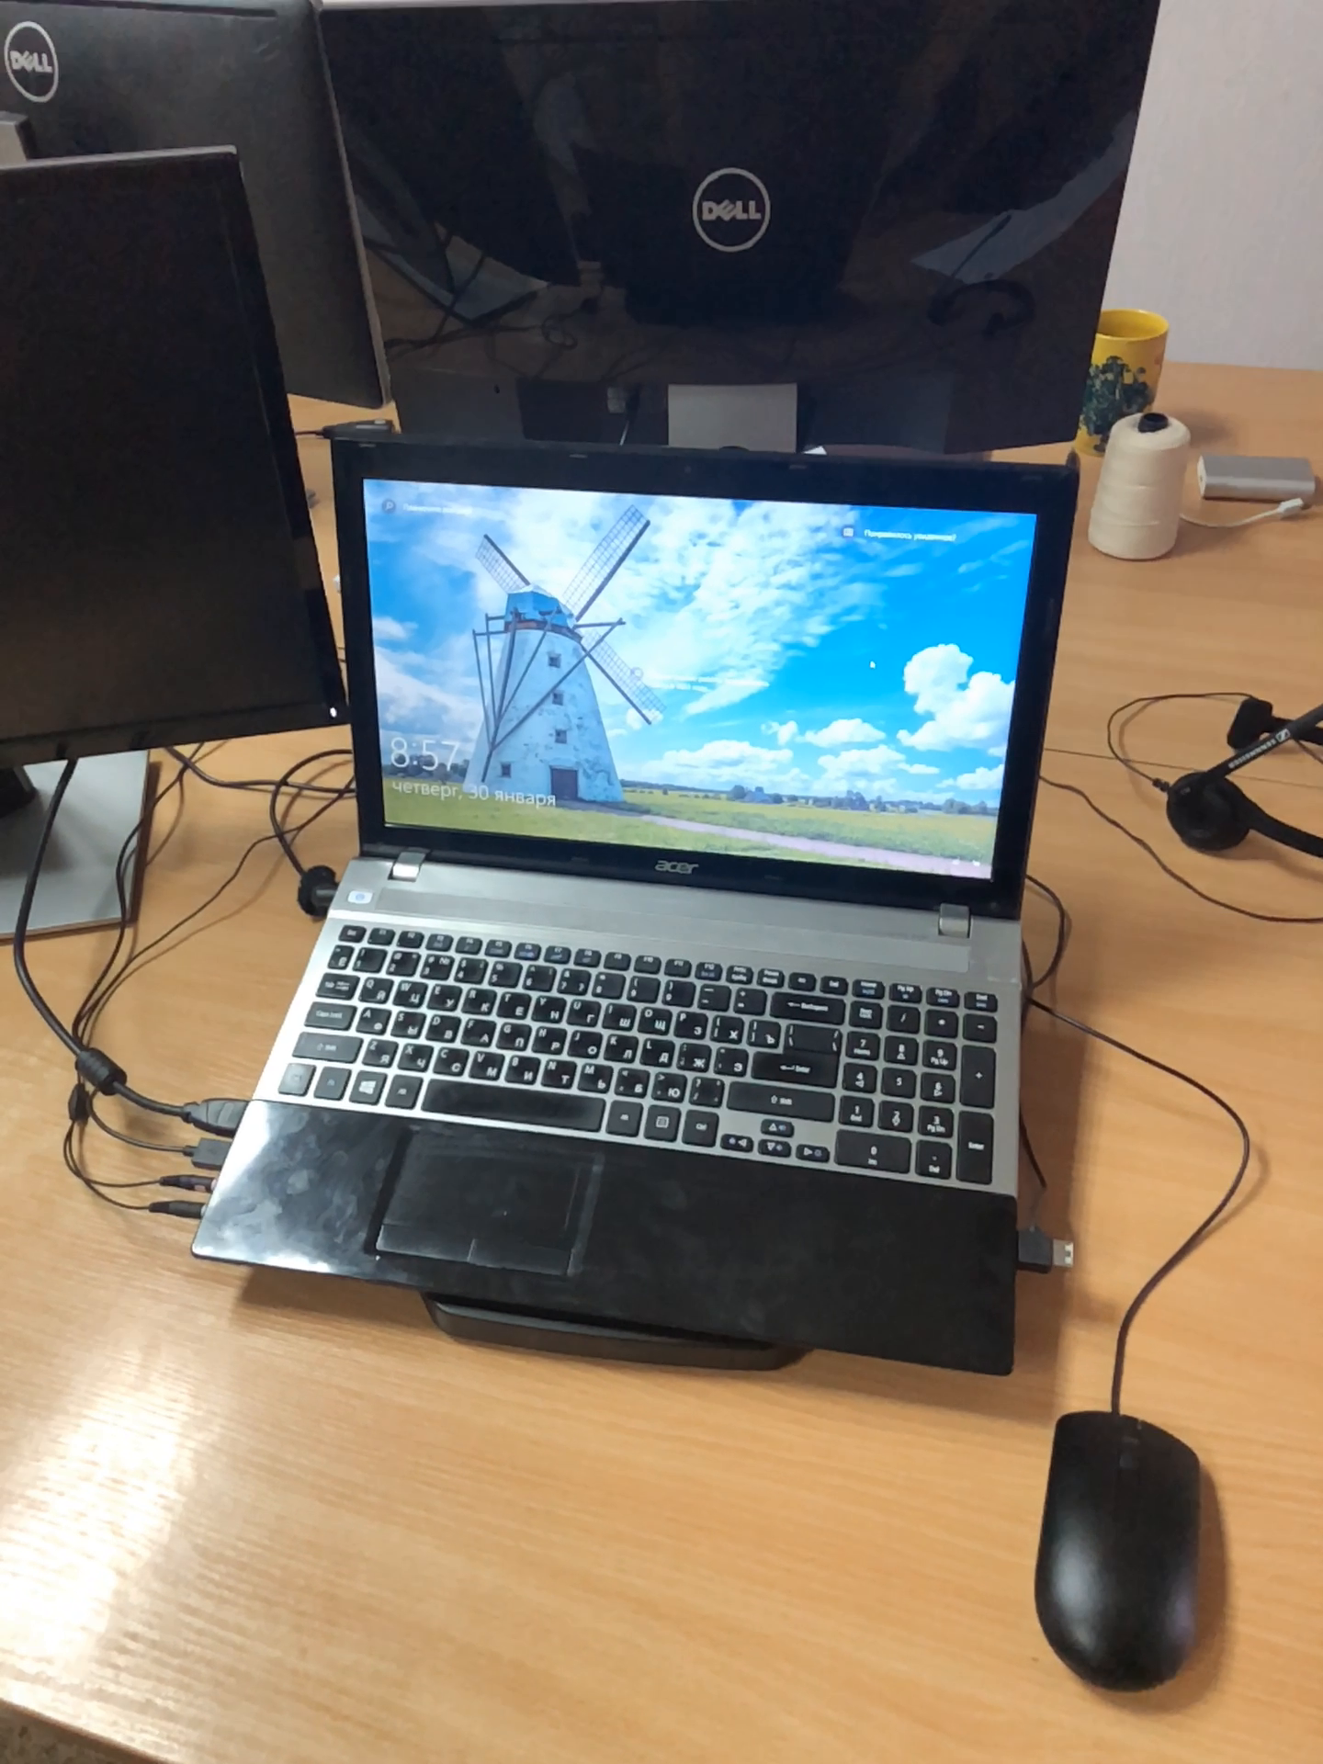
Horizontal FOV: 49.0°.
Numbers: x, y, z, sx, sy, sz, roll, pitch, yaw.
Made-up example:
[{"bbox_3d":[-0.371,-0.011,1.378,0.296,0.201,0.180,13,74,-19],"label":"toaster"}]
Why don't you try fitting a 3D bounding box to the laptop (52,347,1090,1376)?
[{"bbox_3d":[-0.009,-0.033,0.684,0.373,0.211,0.361,6,50,9],"label":"laptop"}]
